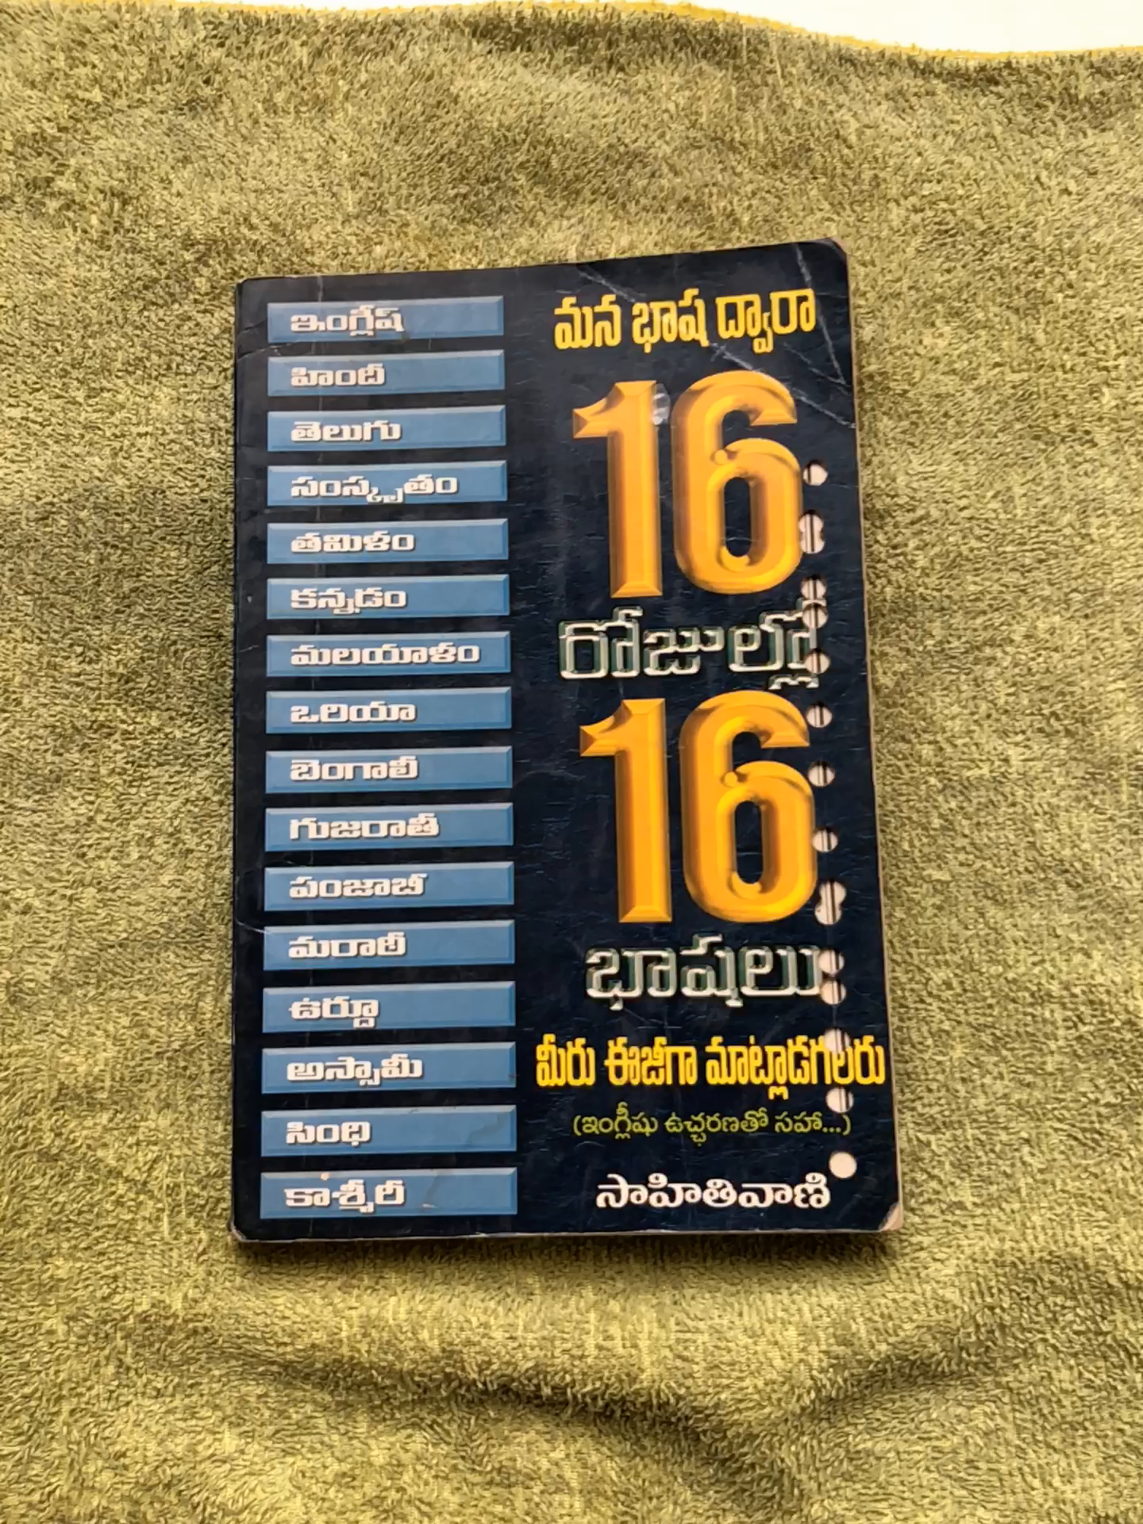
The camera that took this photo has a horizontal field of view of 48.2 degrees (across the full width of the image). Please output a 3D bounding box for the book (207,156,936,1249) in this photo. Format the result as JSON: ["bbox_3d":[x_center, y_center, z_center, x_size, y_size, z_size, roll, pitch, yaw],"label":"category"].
[{"bbox_3d":[-0.003,-0.014,0.274,0.140,0.030,0.220,-2,83,4],"label":"book"}]
